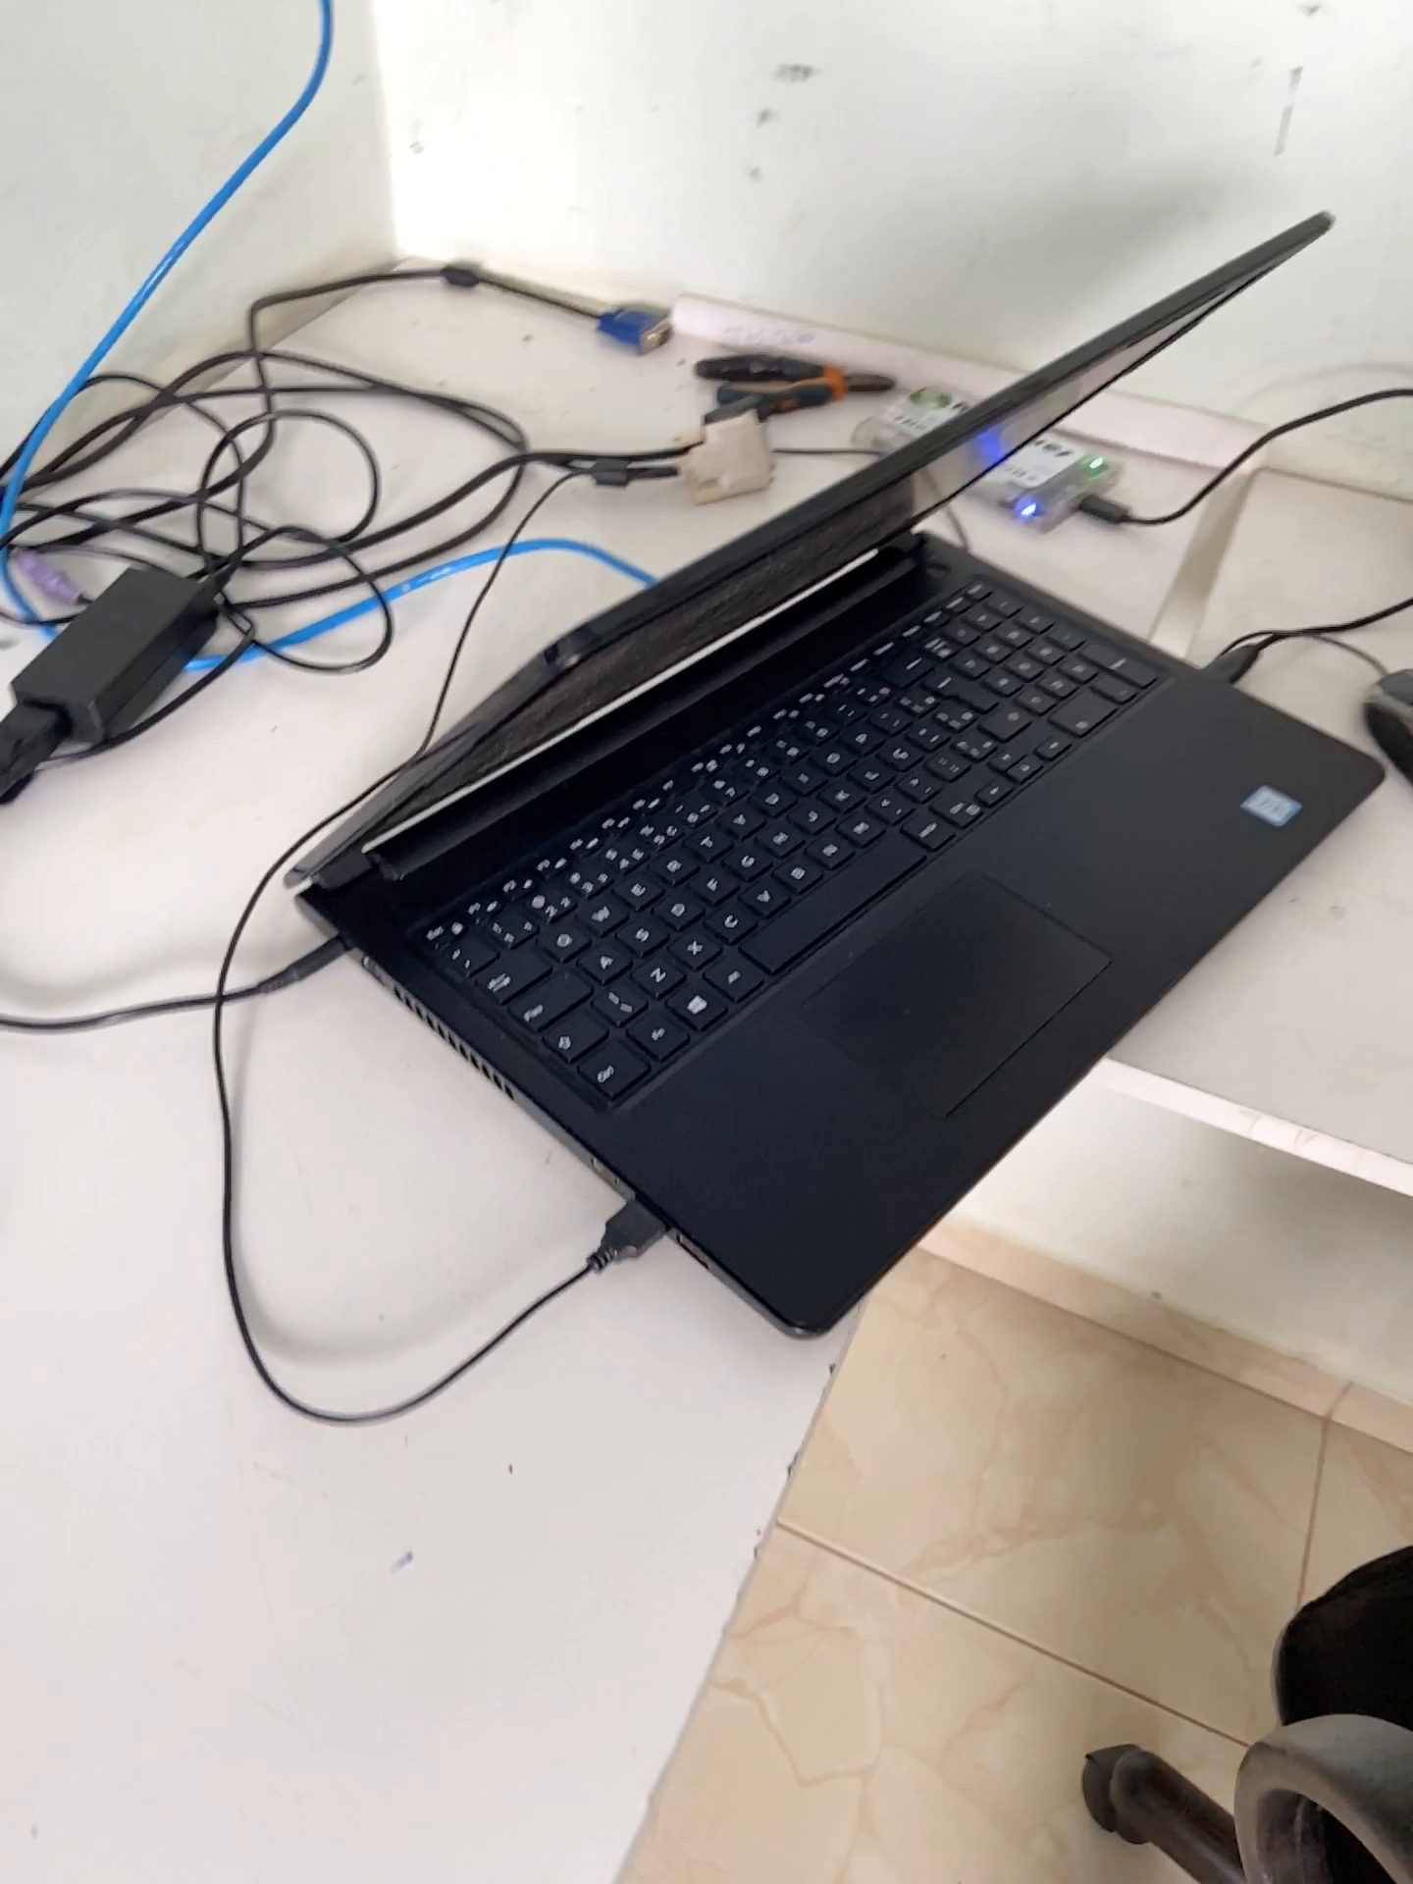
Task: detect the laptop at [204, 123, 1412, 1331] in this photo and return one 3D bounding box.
[{"bbox_3d":[0.072,-0.115,0.514,0.256,0.192,0.373,35,53,27],"label":"laptop"}]
